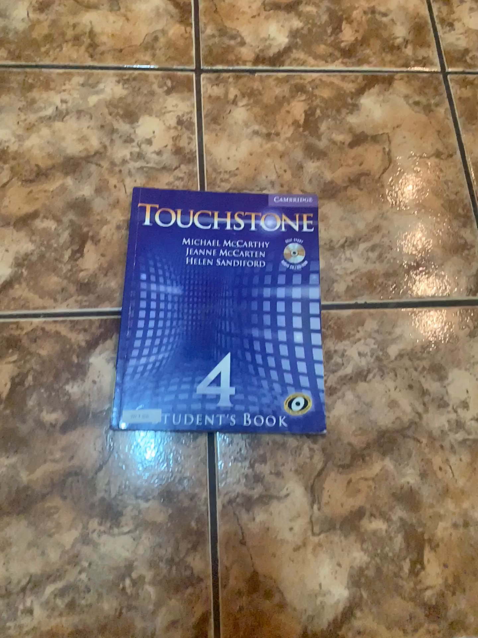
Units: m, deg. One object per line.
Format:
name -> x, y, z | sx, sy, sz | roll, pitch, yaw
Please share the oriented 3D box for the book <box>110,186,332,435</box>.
book -> -0.016, -0.017, 0.527 | 0.219, 0.010, 0.275 | 1, 72, -4
